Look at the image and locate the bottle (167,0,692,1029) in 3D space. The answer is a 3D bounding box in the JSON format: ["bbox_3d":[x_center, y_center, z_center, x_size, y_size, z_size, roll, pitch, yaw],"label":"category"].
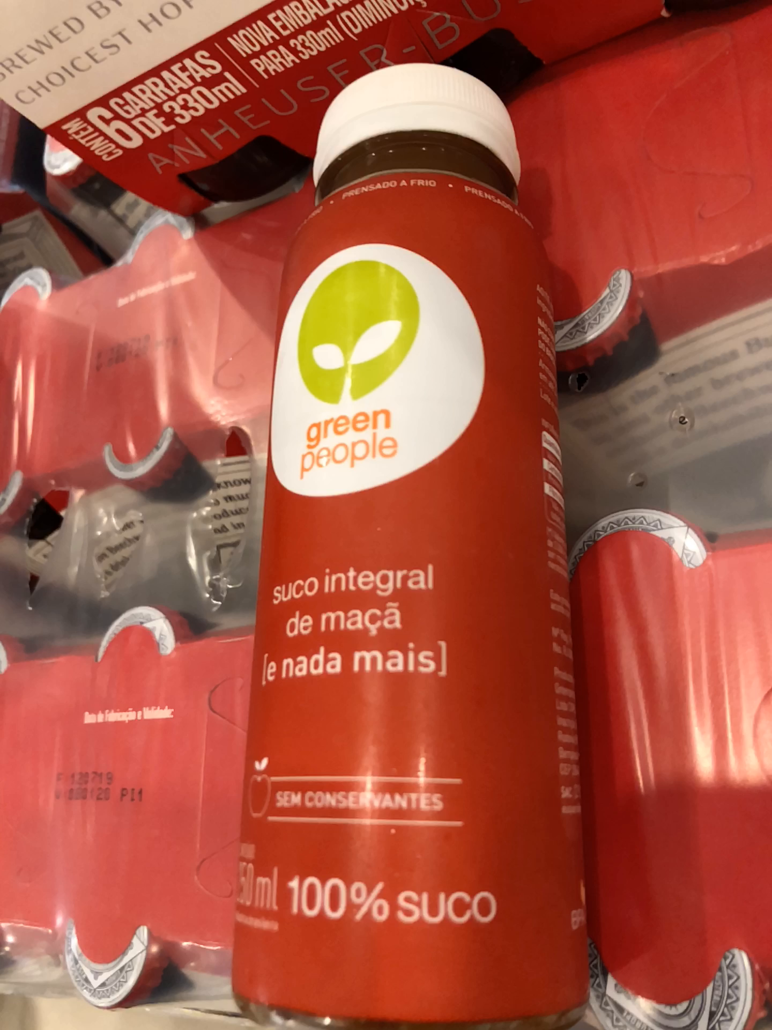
[{"bbox_3d":[0.008,-0.012,0.147,0.060,0.040,0.180,-9,69,31],"label":"bottle"}]
